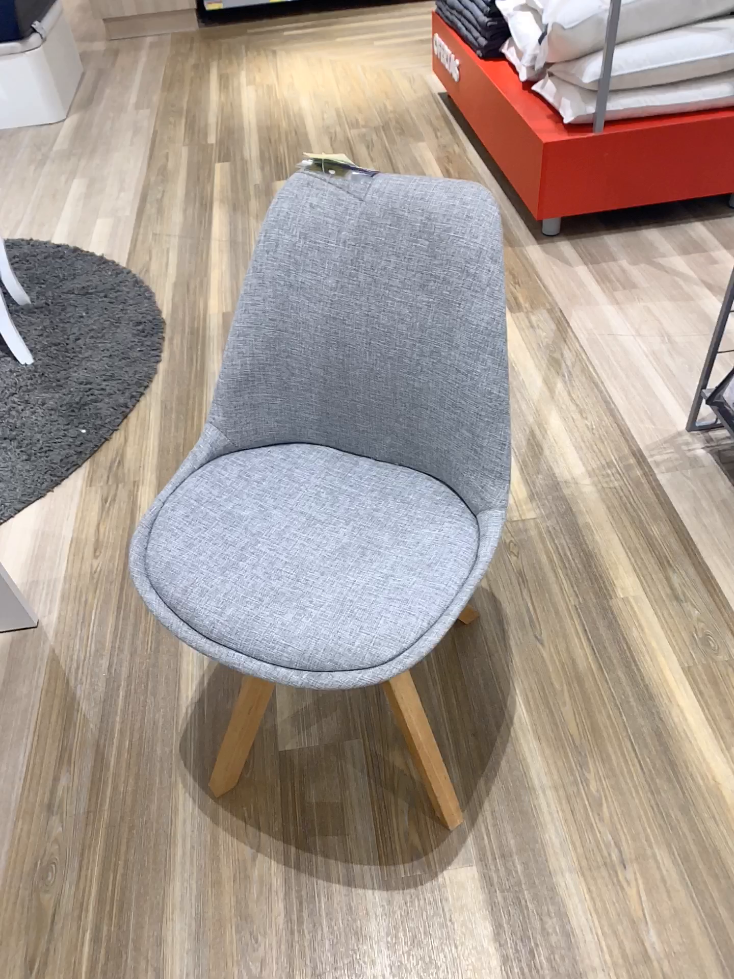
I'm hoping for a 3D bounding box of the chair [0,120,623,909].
[{"bbox_3d":[-0.037,0.062,1.016,0.514,0.855,0.517,15,49,20],"label":"chair"}]
